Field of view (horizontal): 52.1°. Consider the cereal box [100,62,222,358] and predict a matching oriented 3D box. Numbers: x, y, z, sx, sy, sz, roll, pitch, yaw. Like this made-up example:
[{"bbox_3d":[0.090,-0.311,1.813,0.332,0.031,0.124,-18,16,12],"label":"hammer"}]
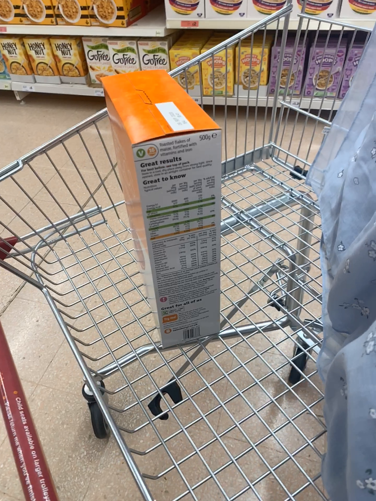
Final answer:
[{"bbox_3d":[-0.033,-0.048,0.499,0.080,0.307,0.212,-12,41,-11],"label":"cereal box"}]
